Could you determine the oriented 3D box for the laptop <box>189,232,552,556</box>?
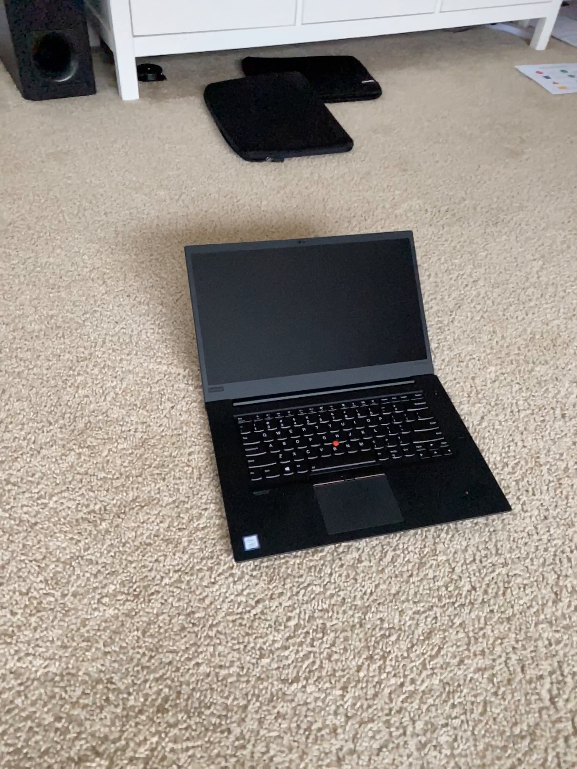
[{"bbox_3d":[0.071,-0.022,0.822,0.360,0.141,0.434,-7,48,-12],"label":"laptop"}]
